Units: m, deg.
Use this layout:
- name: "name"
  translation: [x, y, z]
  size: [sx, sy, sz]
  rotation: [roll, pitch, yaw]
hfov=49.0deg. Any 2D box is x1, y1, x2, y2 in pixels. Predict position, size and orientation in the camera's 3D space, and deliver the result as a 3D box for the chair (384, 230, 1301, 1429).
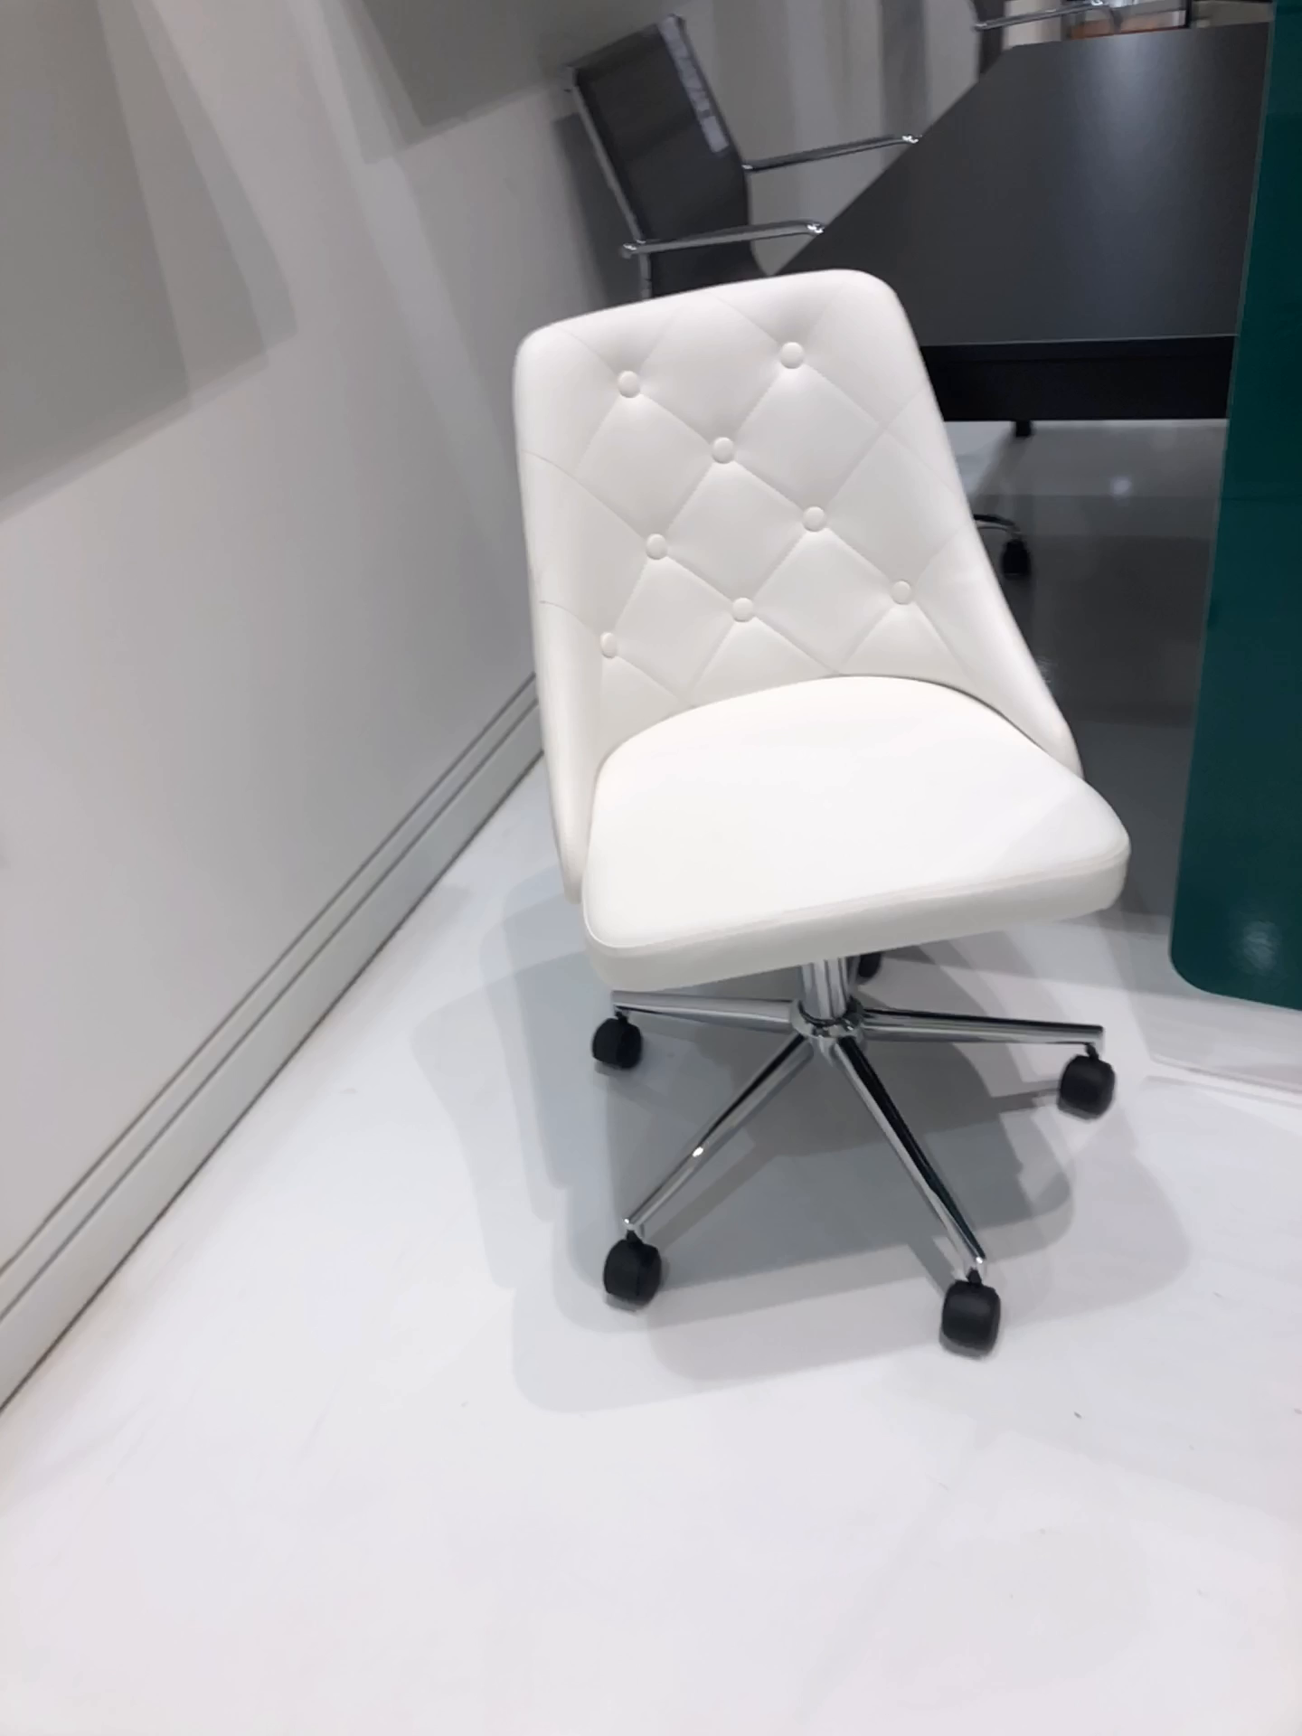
- name: "chair"
  translation: [0.161, -0.047, 1.378]
  size: [0.600, 0.854, 0.645]
  rotation: [-10, 35, 0]
